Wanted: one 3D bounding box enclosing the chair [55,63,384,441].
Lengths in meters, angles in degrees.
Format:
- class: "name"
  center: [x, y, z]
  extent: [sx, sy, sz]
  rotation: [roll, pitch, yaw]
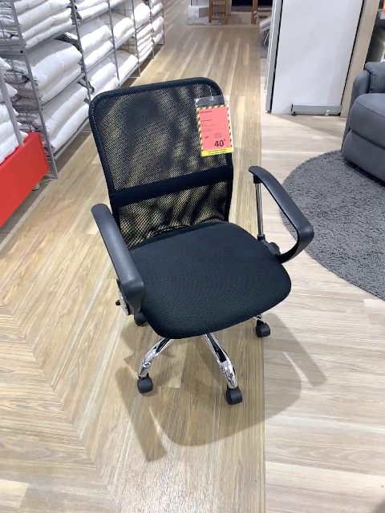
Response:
- class: "chair"
  center: [0.039, -0.032, 1.228]
  extent: [0.641, 0.865, 0.603]
  rotation: [-16, 41, -17]
